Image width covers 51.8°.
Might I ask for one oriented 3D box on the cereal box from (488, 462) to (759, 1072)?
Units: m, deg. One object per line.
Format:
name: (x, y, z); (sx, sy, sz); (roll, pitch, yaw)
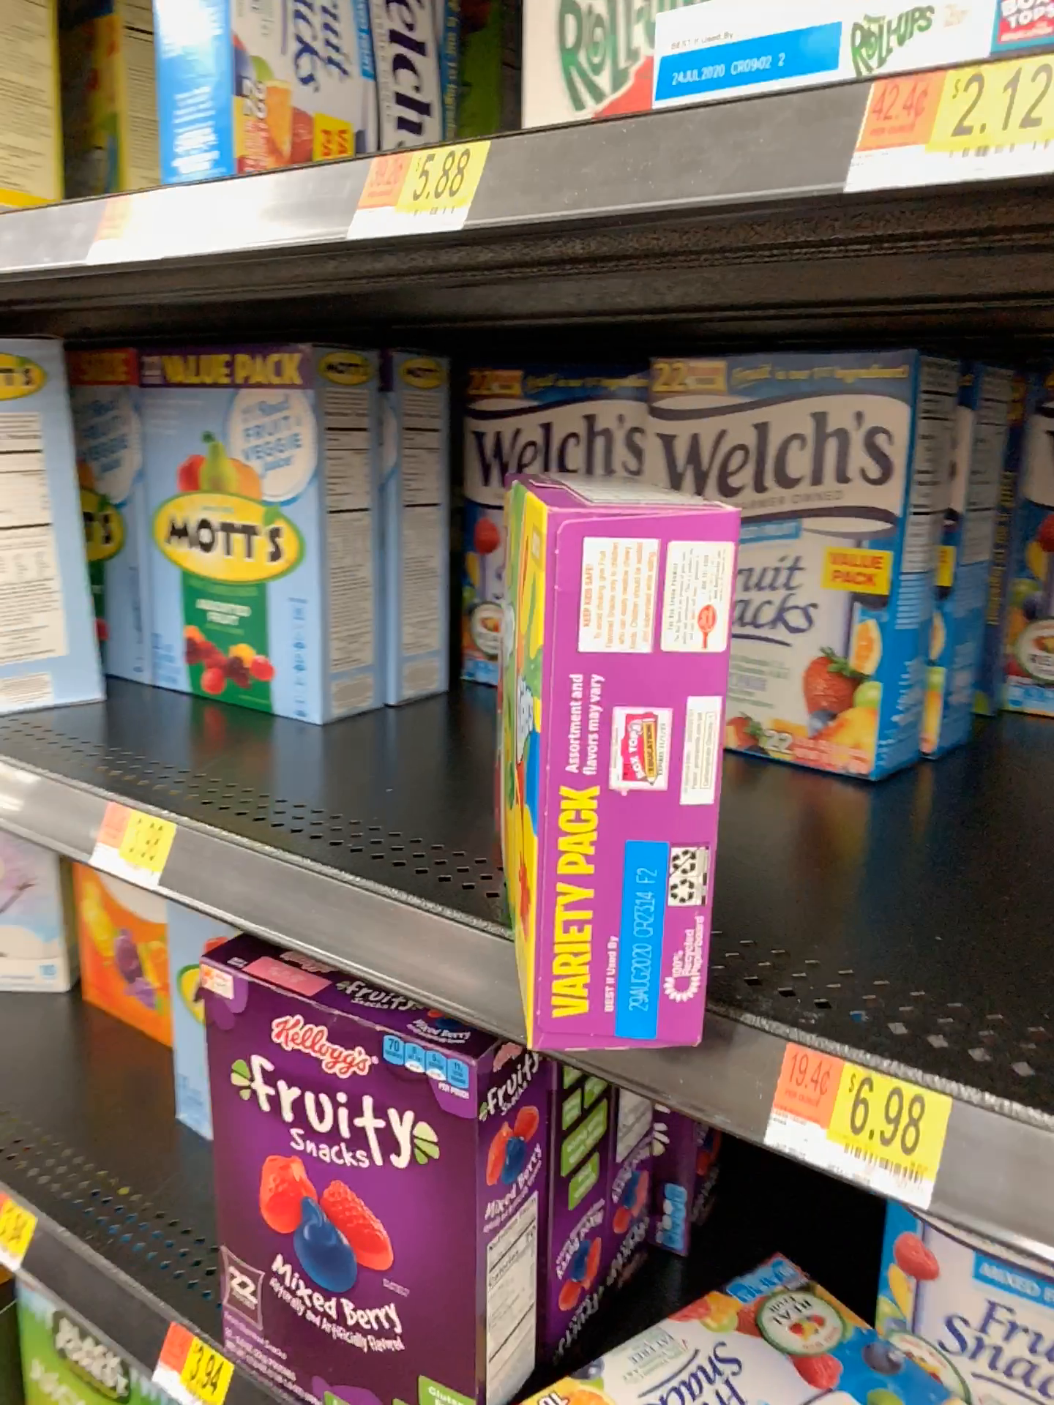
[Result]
cereal box: (0.021, 0.001, 0.415); (0.060, 0.169, 0.221); (0, 15, -5)
